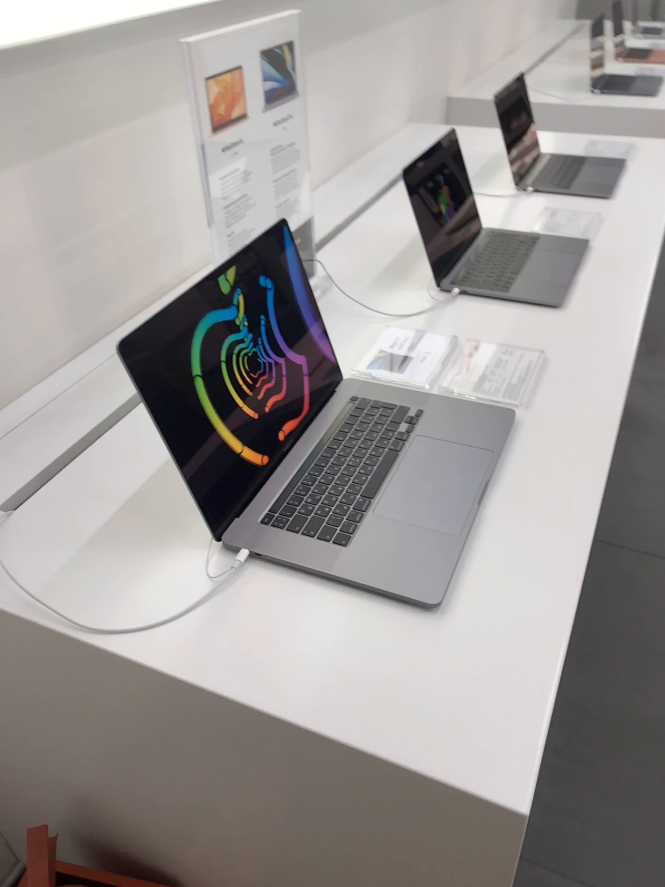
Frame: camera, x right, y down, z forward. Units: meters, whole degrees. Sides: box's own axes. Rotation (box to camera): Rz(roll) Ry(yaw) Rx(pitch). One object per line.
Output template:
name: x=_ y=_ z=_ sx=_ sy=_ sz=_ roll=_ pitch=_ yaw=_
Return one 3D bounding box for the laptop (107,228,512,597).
laptop: x=0.000 y=-0.063 z=0.809 sx=0.310 sy=0.208 sz=0.329 roll=13 pitch=38 yaw=19
